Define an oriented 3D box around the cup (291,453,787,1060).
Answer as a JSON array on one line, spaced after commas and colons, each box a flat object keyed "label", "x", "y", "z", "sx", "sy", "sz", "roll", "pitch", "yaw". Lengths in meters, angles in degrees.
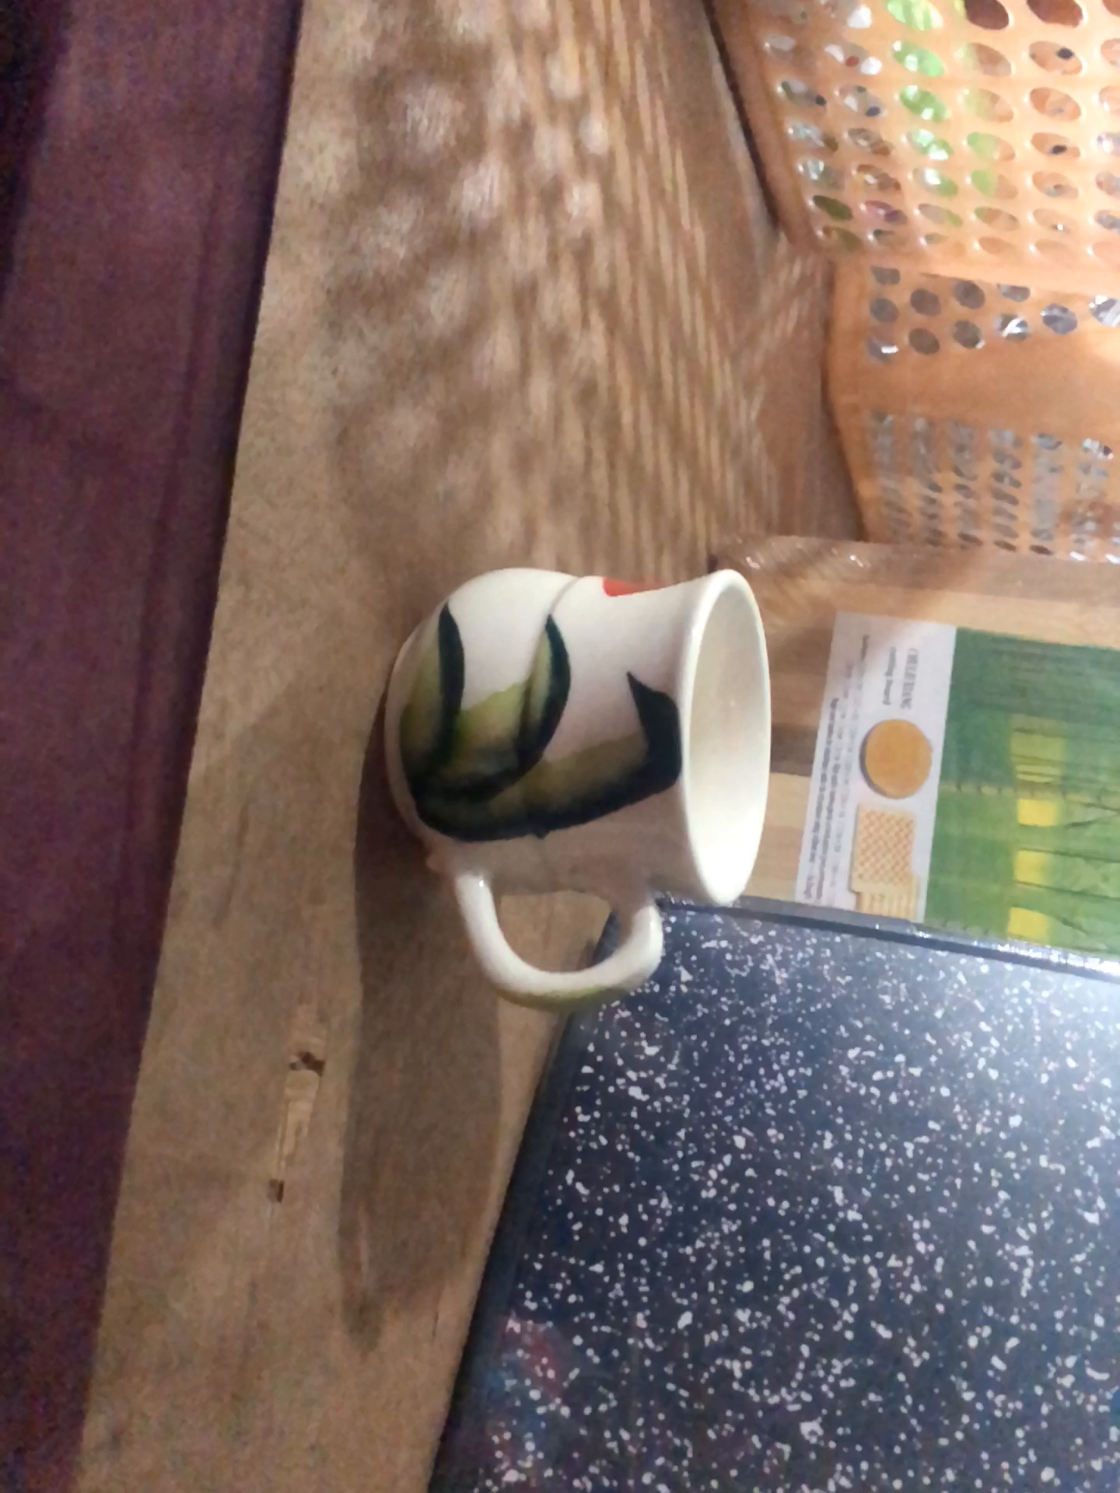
[{"label": "cup", "x": 0.002, "y": 0.004, "z": 0.225, "sx": 0.060, "sy": 0.060, "sz": 0.090, "roll": 45, "pitch": 50, "yaw": -61}]
